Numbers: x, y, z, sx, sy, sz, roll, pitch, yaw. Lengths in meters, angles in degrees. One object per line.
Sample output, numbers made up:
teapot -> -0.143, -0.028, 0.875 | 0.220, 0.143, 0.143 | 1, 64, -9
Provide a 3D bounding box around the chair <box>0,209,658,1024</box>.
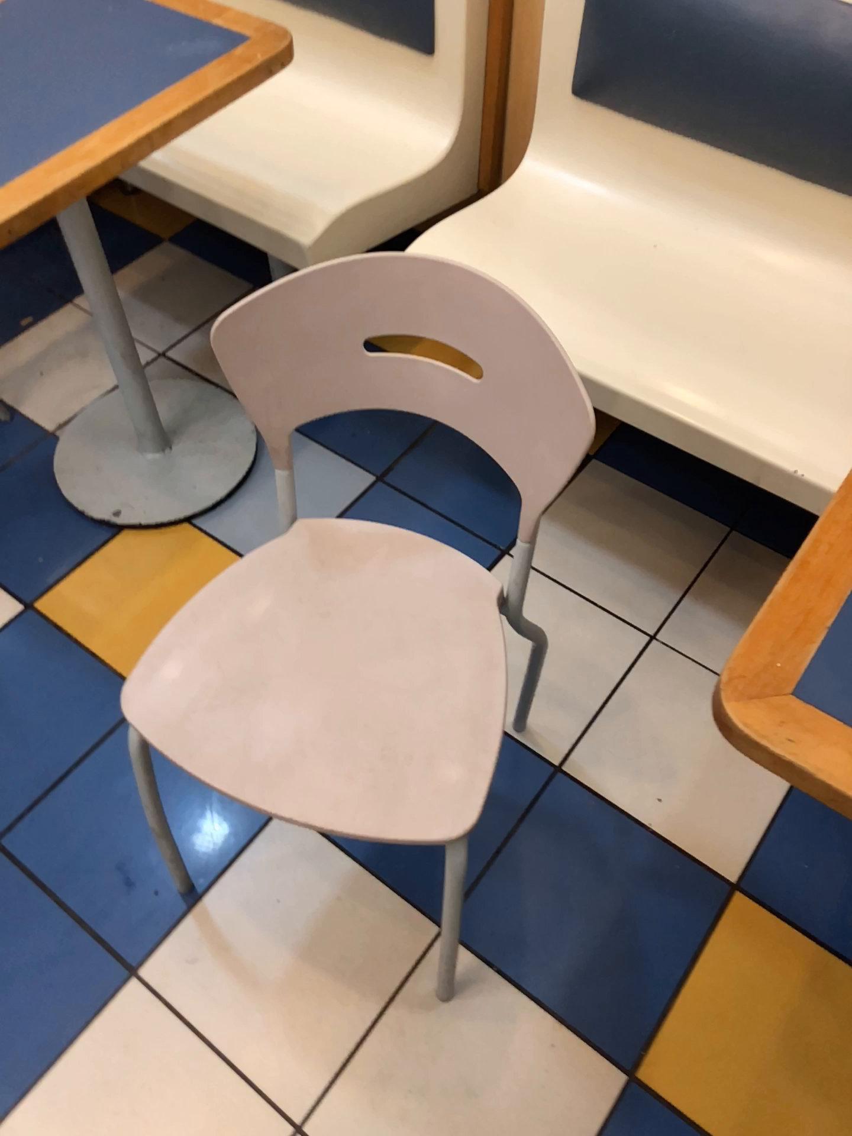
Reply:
chair -> -0.075, 0.108, 1.101 | 0.440, 0.776, 0.513 | 17, 55, 13
